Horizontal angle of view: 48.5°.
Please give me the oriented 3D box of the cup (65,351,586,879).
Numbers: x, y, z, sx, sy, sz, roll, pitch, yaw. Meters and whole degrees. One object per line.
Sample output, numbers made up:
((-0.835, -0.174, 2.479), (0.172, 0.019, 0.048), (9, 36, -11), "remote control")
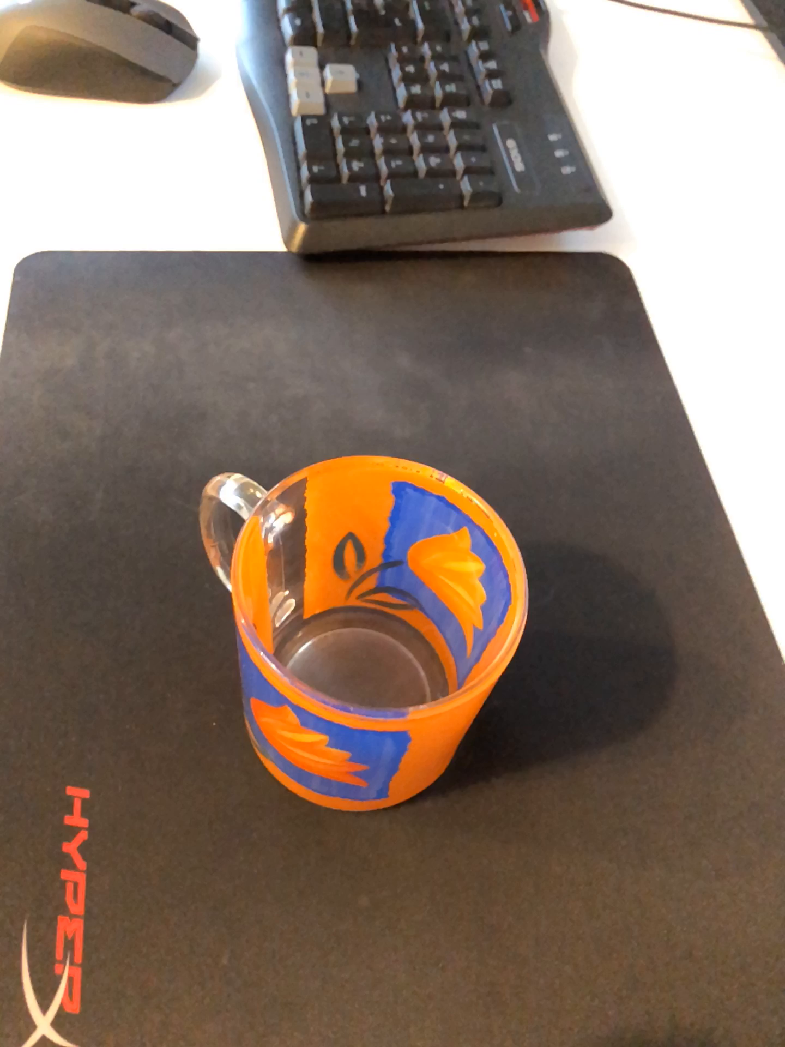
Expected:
((-0.021, 0.029, 0.263), (0.114, 0.089, 0.076), (37, 60, 16), "cup")
